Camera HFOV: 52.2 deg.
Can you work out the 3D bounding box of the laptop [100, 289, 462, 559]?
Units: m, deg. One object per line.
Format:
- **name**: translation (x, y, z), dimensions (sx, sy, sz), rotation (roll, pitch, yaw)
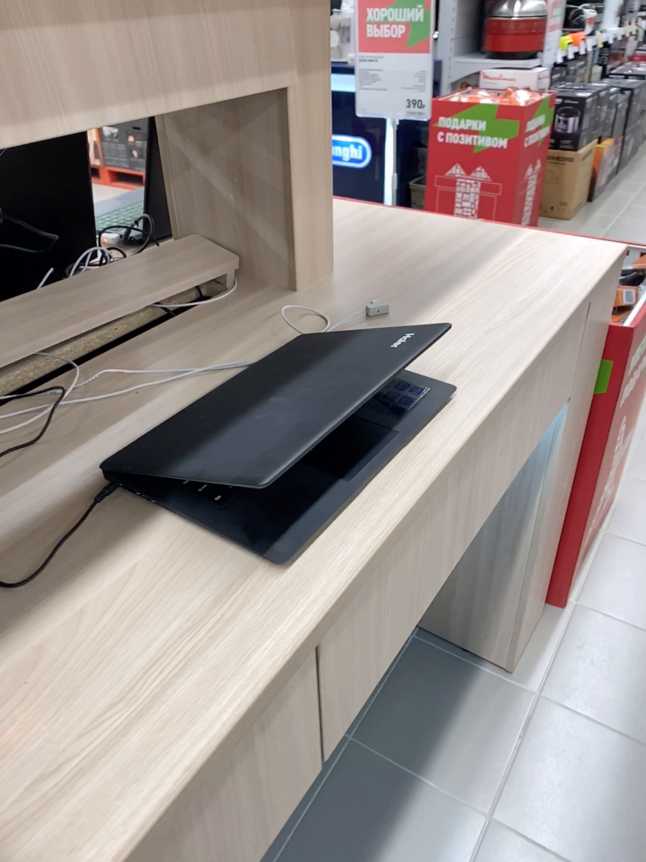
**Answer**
- **laptop**: translation (-0.023, -0.035, 0.658), dimensions (0.202, 0.072, 0.320), rotation (20, 39, 28)
